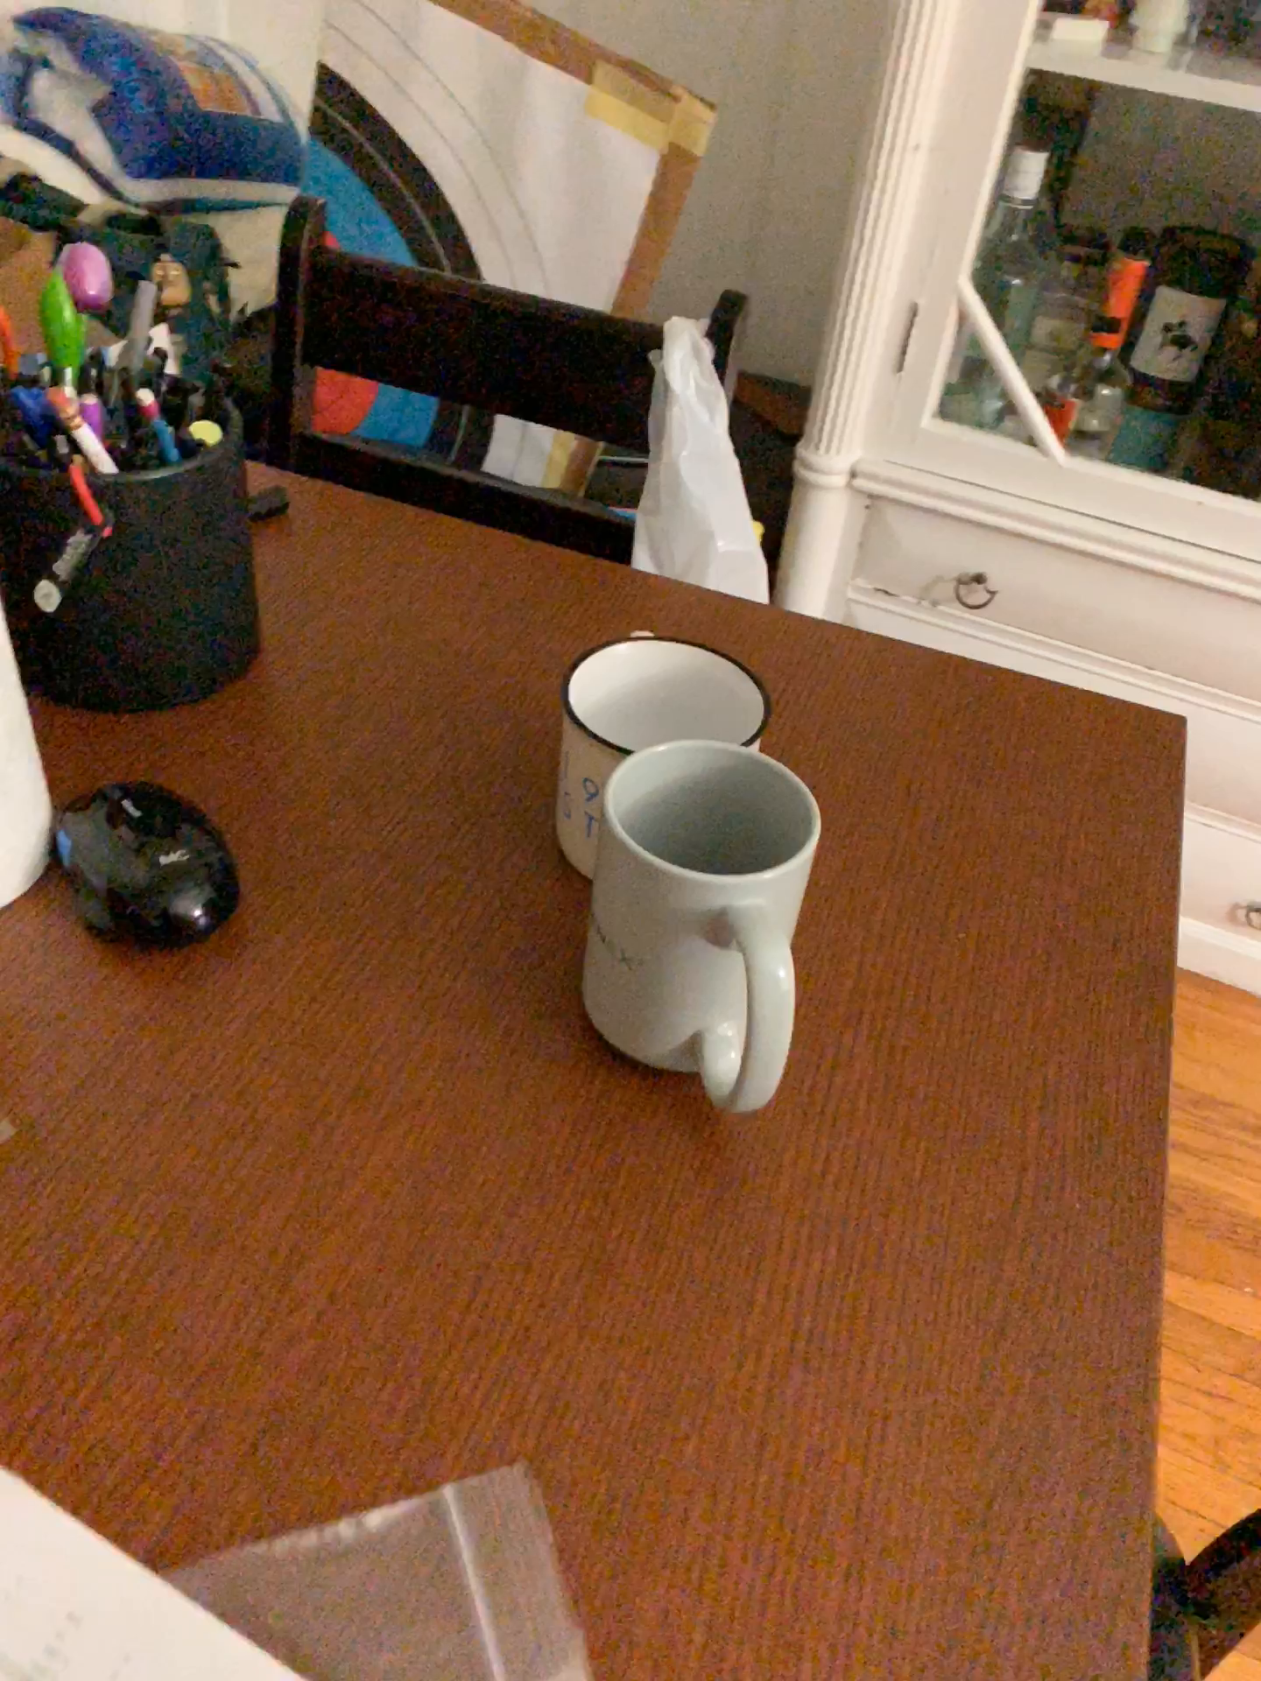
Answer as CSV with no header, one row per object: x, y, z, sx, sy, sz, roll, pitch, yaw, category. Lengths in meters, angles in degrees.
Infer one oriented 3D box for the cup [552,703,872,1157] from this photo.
0.028,0.032,0.509,0.100,0.099,0.141,6,41,-2,cup

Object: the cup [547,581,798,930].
0.019,-0.043,0.622,0.100,0.099,0.131,6,41,-2,cup
